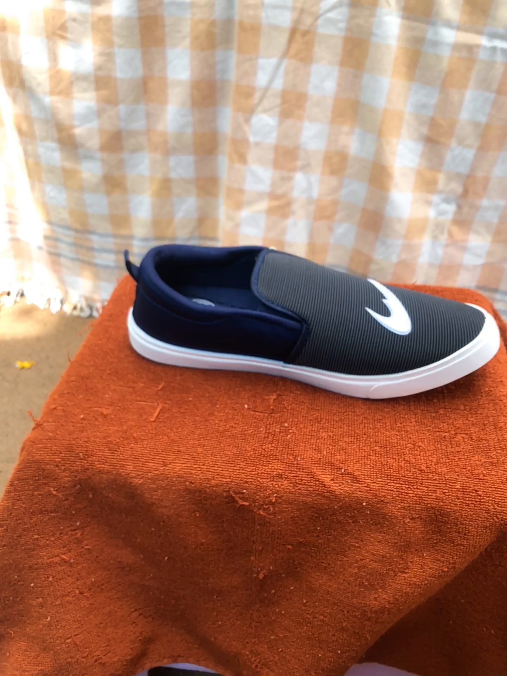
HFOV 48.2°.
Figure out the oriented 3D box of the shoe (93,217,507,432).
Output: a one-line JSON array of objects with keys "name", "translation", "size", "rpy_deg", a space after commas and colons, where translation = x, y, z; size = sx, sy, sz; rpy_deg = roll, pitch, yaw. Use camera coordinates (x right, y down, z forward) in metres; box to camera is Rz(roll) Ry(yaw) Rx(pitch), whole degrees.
[{"name": "shoe", "translation": [0.041, -0.017, 0.446], "size": [0.300, 0.080, 0.101], "rpy_deg": [9, 37, 8]}]
